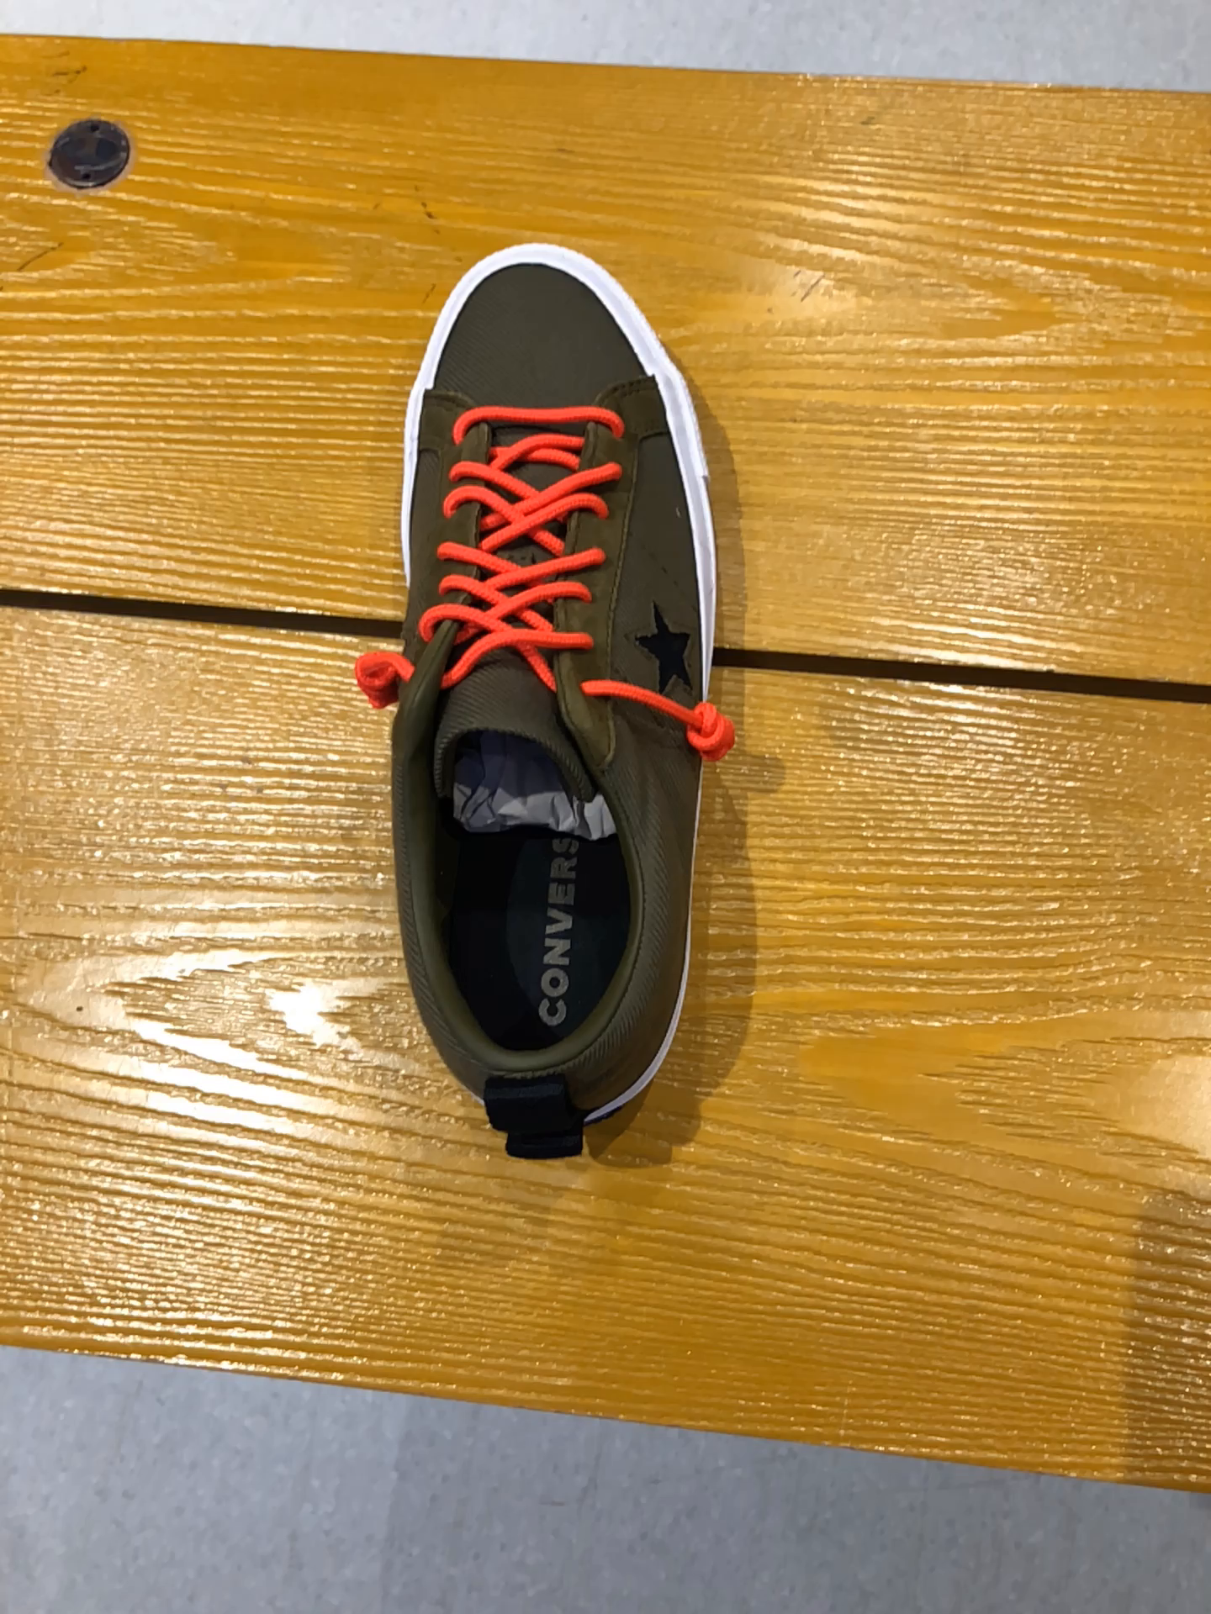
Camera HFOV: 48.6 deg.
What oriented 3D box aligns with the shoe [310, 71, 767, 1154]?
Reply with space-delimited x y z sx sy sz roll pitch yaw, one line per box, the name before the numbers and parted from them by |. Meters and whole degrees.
shoe | -0.016 -0.052 0.390 0.105 0.097 0.293 -2 76 2
